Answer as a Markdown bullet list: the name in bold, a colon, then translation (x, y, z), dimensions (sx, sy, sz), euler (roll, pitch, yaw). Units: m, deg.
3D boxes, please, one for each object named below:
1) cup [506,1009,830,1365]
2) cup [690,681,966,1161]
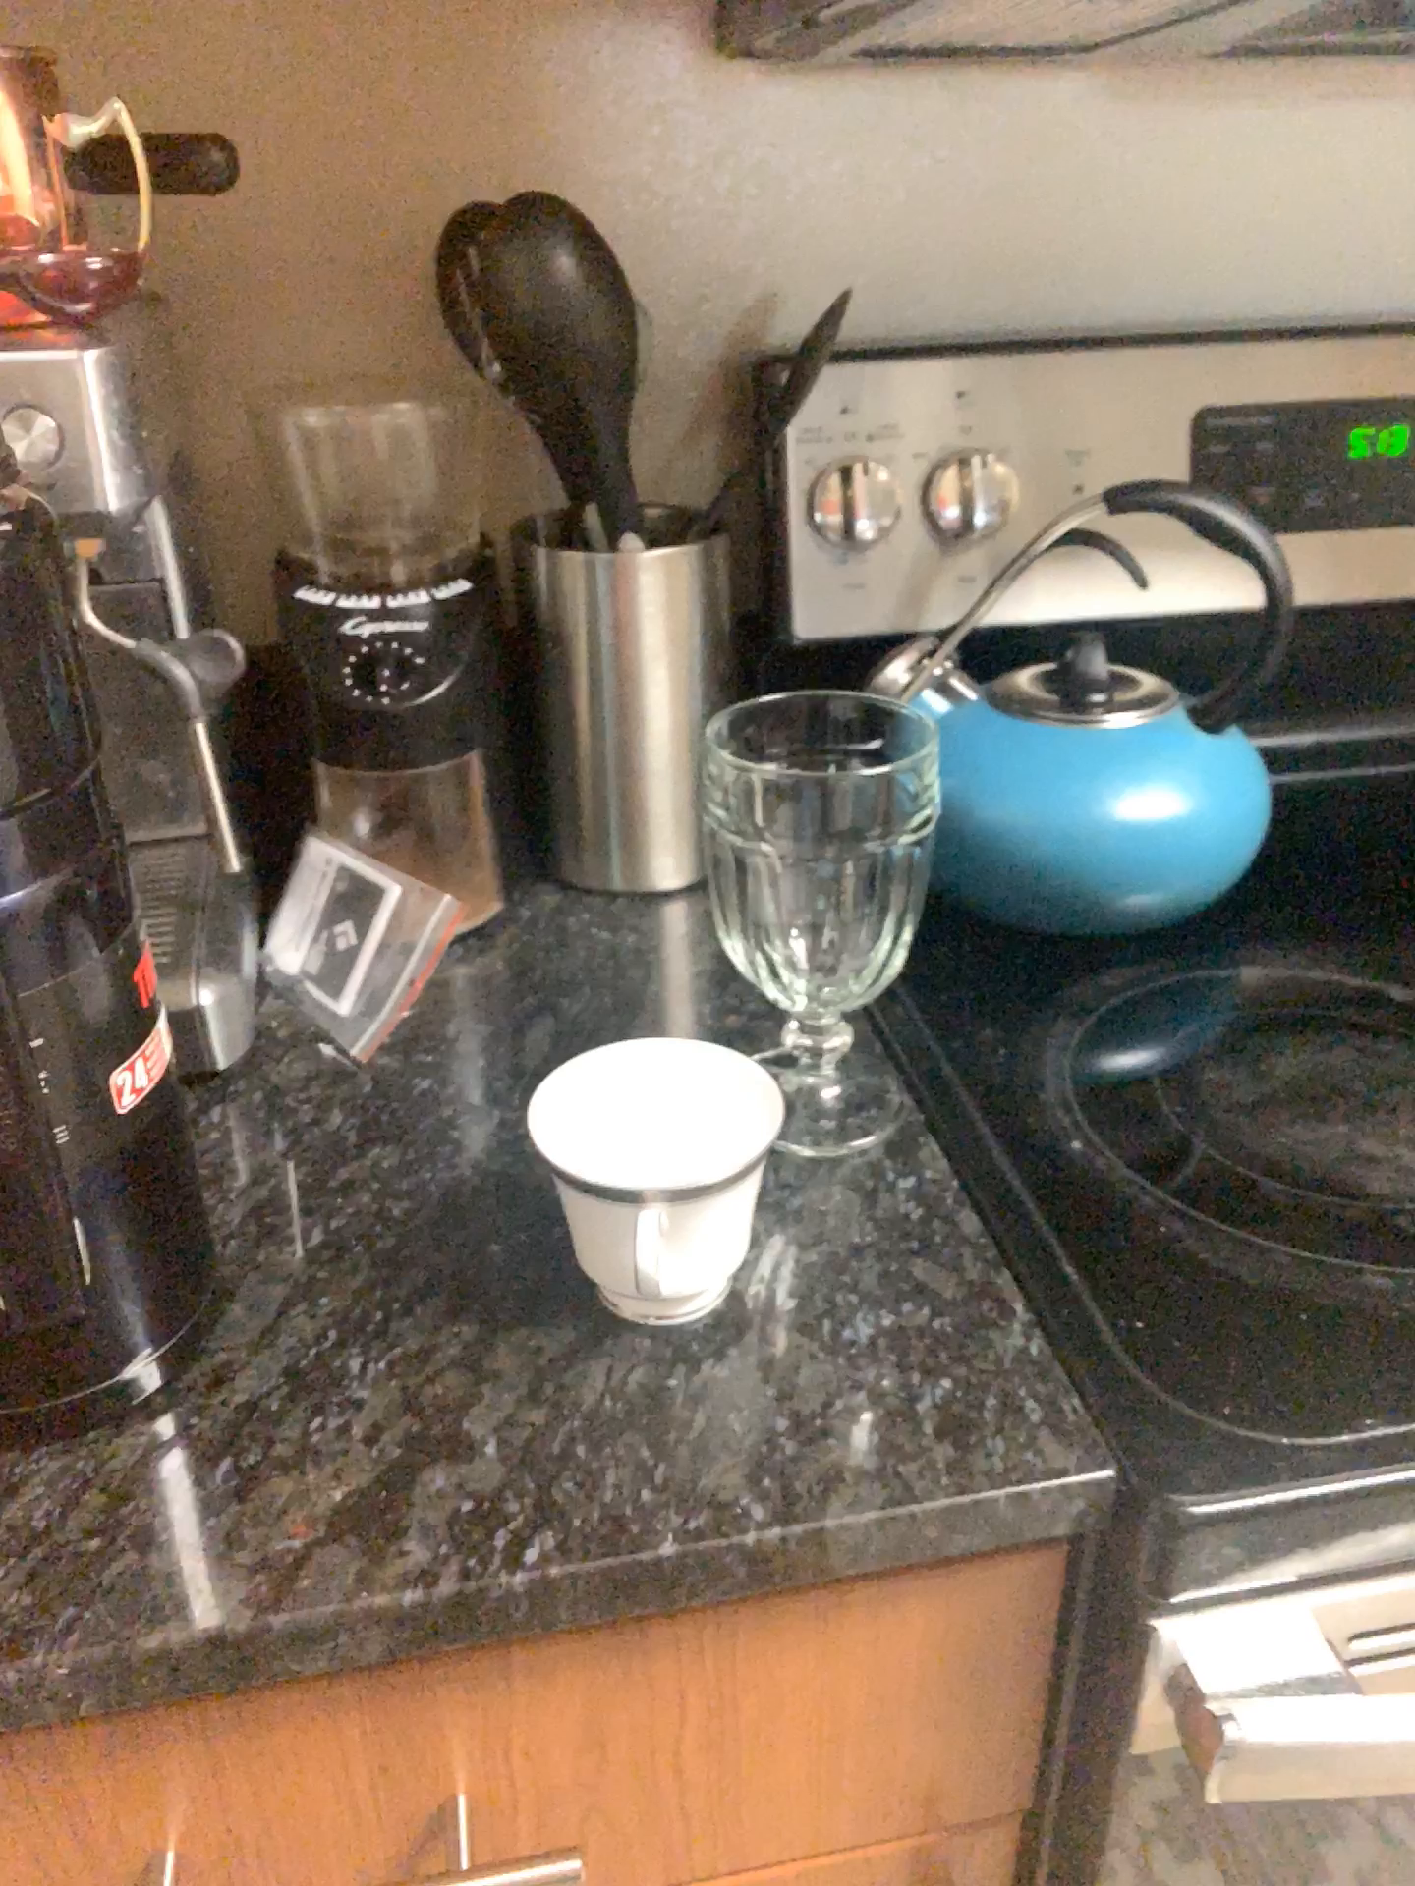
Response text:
- **cup**: translation (-0.011, 0.082, 0.516), dimensions (0.100, 0.070, 0.111), euler (-1, 28, 1)
- **cup**: translation (0.046, -0.011, 0.618), dimensions (0.100, 0.169, 0.111), euler (-1, 27, 1)
